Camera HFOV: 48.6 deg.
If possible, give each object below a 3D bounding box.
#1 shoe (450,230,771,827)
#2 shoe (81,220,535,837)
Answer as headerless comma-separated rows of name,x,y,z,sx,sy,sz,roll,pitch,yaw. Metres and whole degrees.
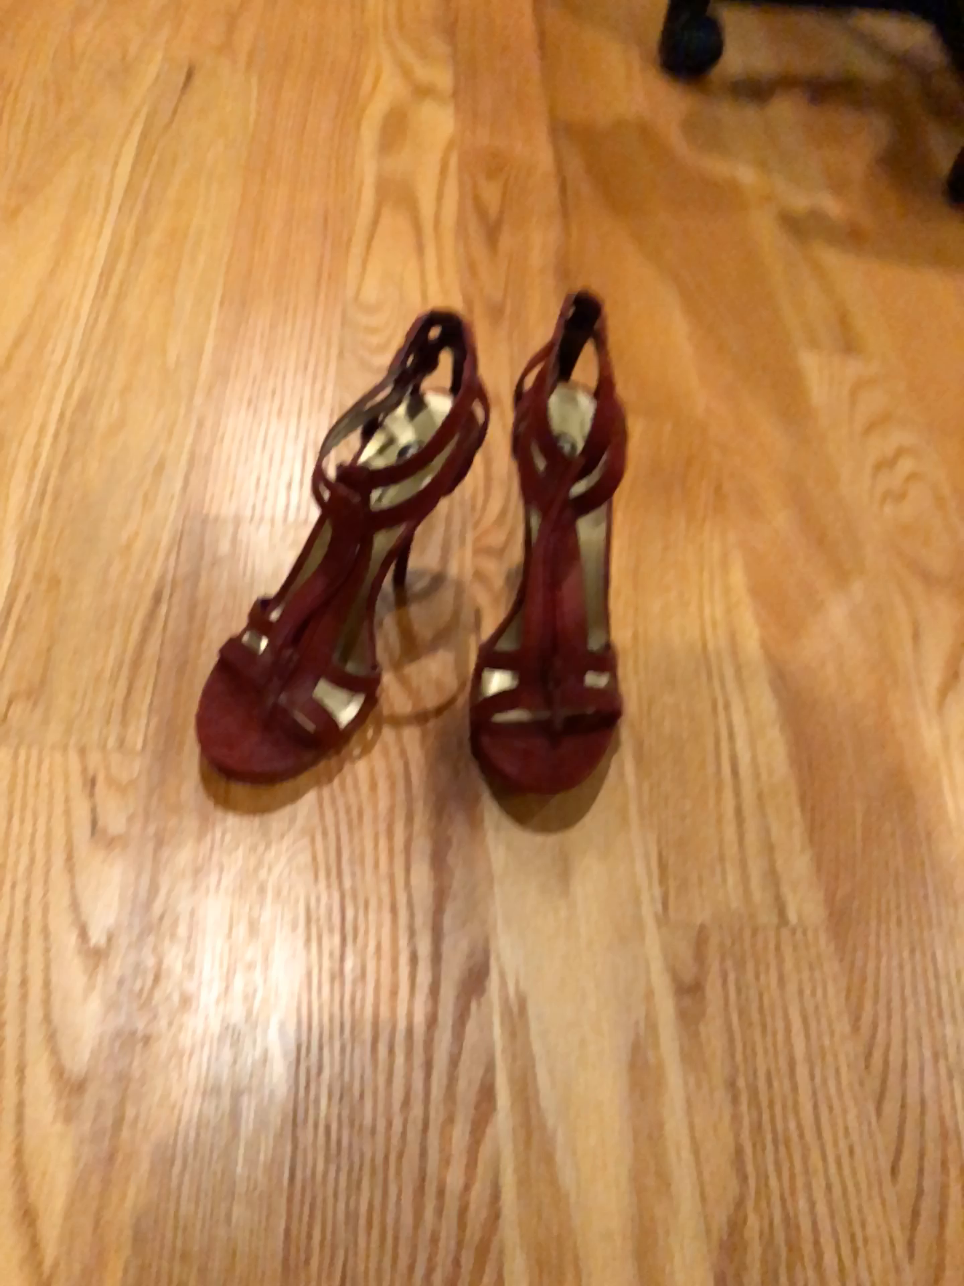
shoe,0.041,-0.050,0.496,0.085,0.175,0.207,3,53,-8
shoe,-0.068,-0.051,0.481,0.085,0.175,0.200,24,53,8
